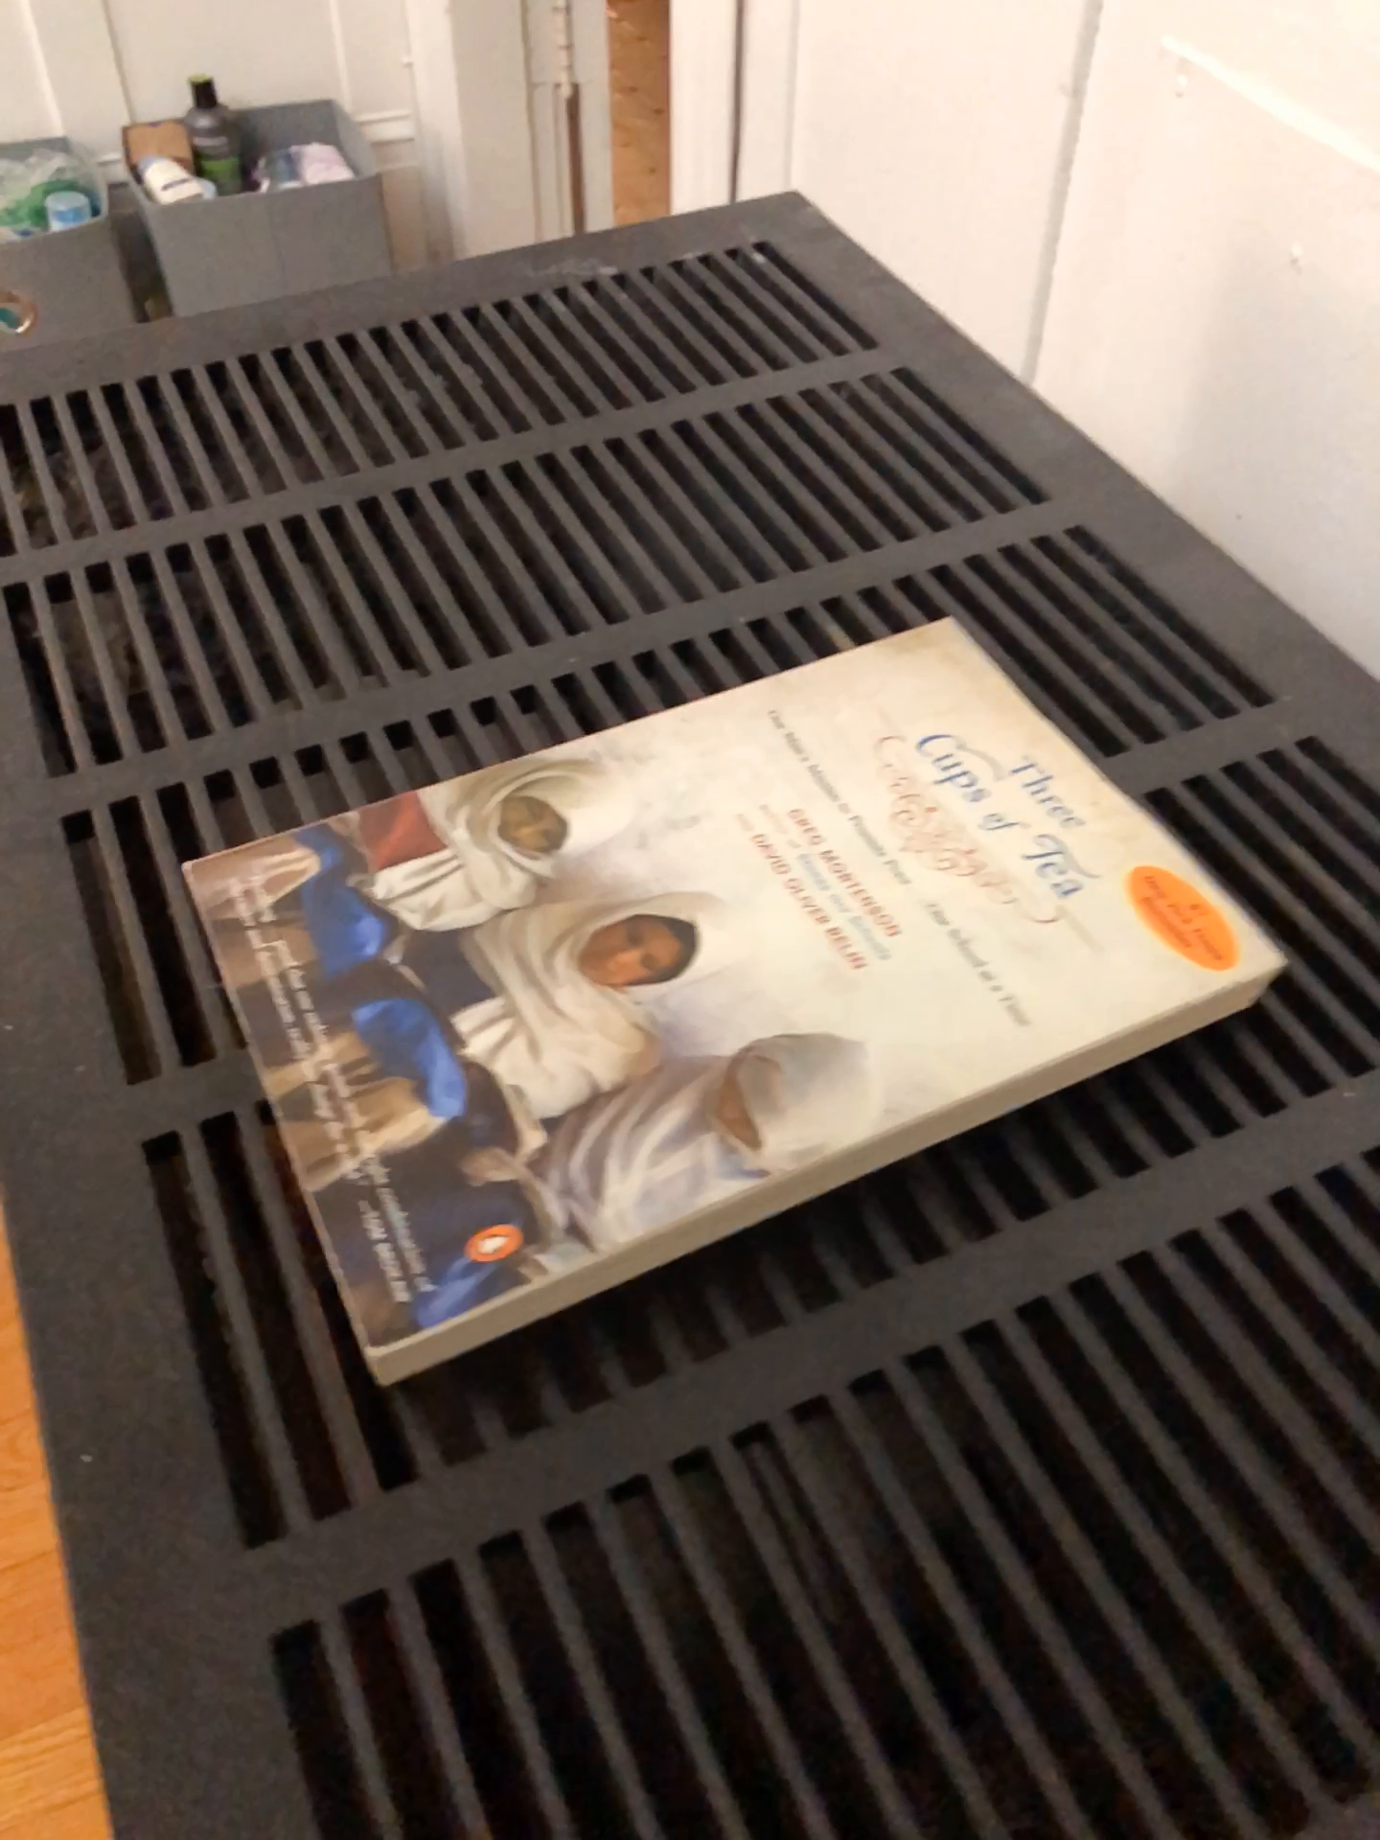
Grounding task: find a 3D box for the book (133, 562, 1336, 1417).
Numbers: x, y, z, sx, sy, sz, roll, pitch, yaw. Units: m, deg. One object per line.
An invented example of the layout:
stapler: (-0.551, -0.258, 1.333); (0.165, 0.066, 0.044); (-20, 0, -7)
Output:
book: (0.007, -0.003, 0.341); (0.220, 0.030, 0.141); (-20, 50, -19)
